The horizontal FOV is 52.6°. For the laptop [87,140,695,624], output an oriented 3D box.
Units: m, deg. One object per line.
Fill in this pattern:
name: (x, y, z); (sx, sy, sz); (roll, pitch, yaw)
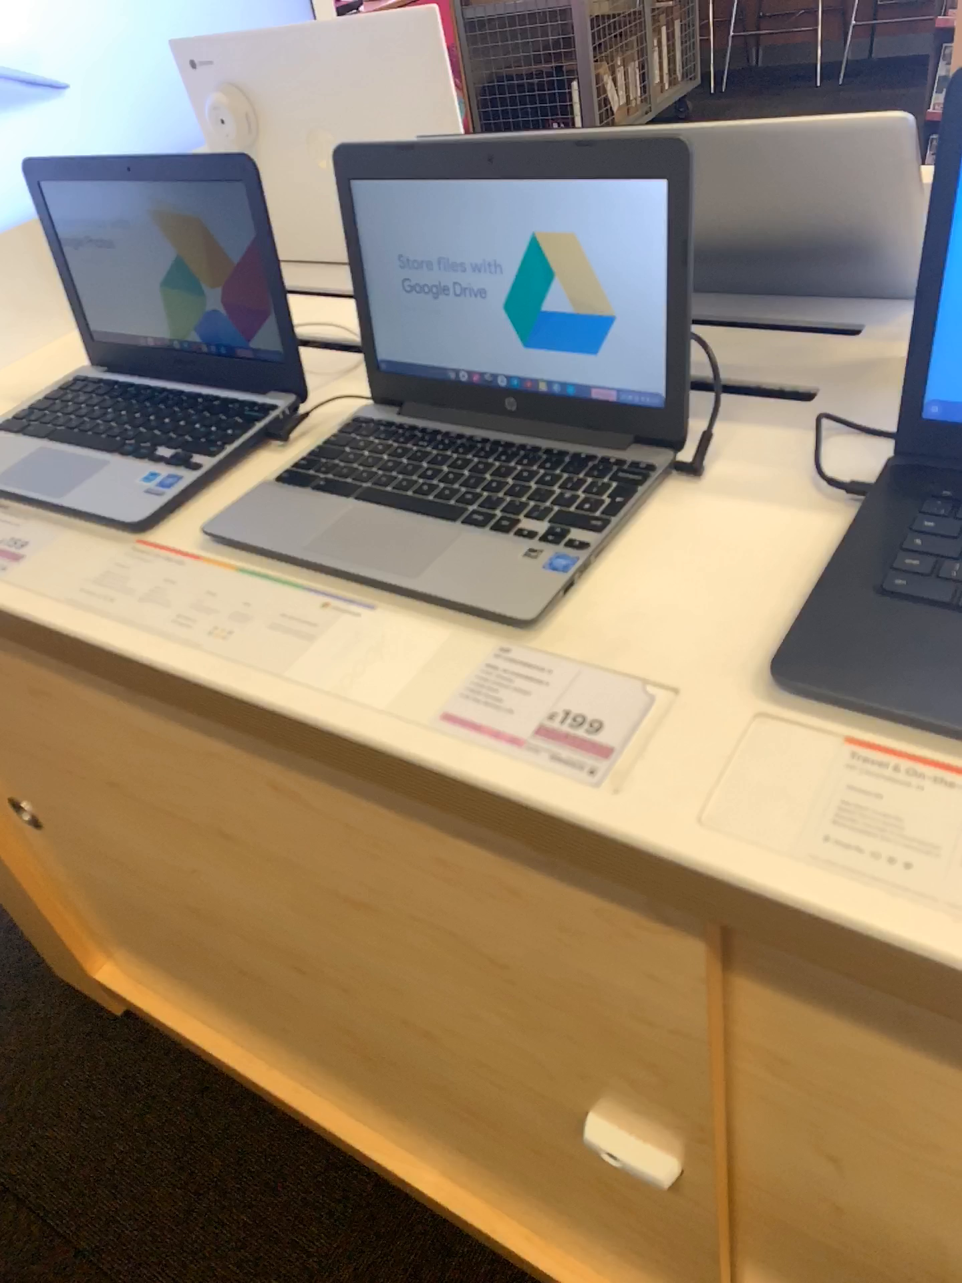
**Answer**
laptop: (-0.042, -0.184, 0.627); (0.278, 0.185, 0.229); (16, 47, 31)

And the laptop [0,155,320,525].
laptop: (-0.331, -0.260, 0.795); (0.287, 0.179, 0.222); (15, 48, 30)
